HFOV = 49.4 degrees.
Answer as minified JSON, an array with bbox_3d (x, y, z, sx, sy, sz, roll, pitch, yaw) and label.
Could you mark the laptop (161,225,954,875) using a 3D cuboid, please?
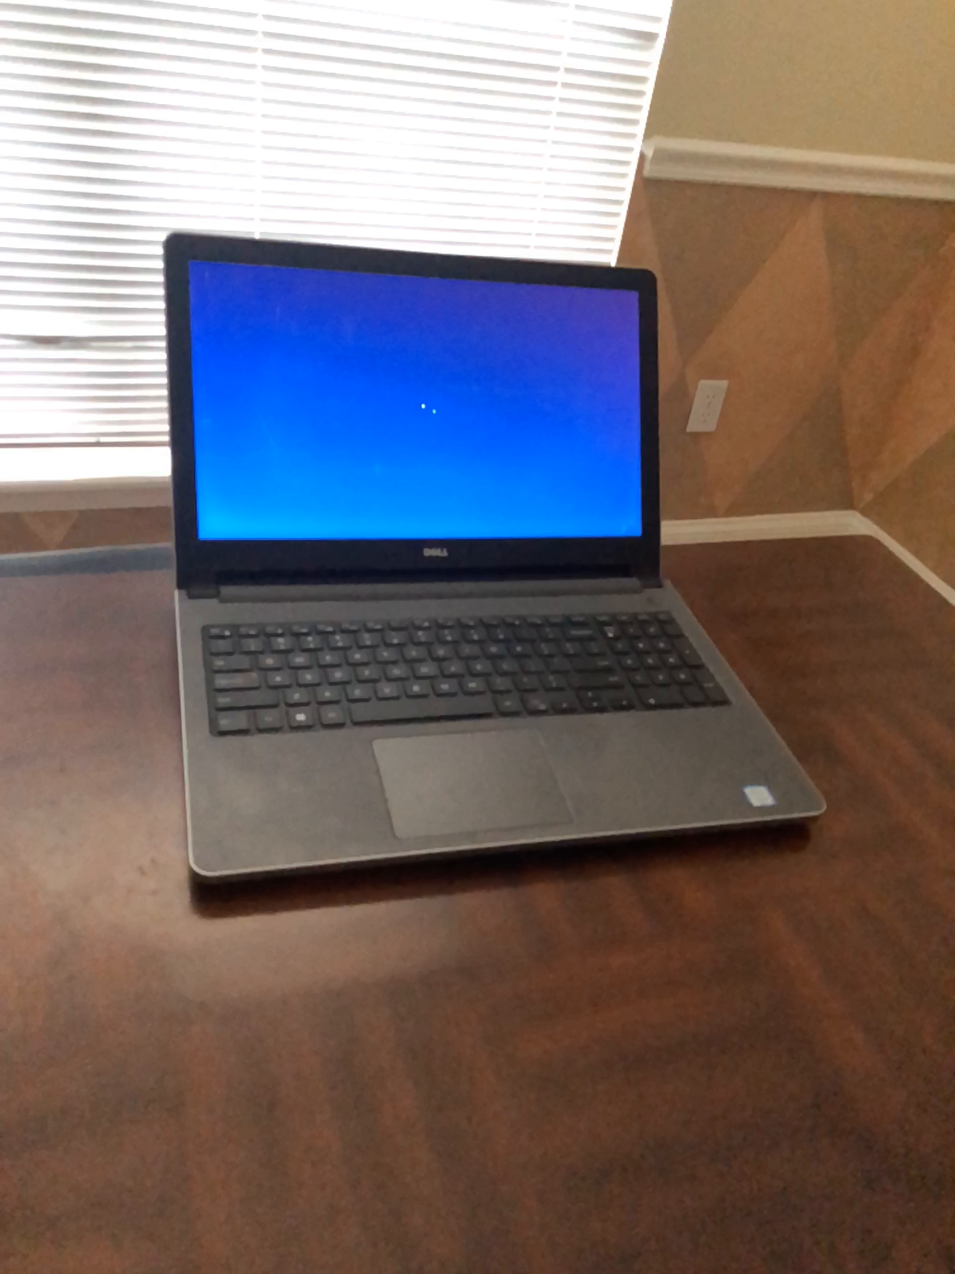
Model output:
[{"bbox_3d":[-0.001,-0.085,0.663,0.367,0.198,0.394,-2,37,-18],"label":"laptop"}]
